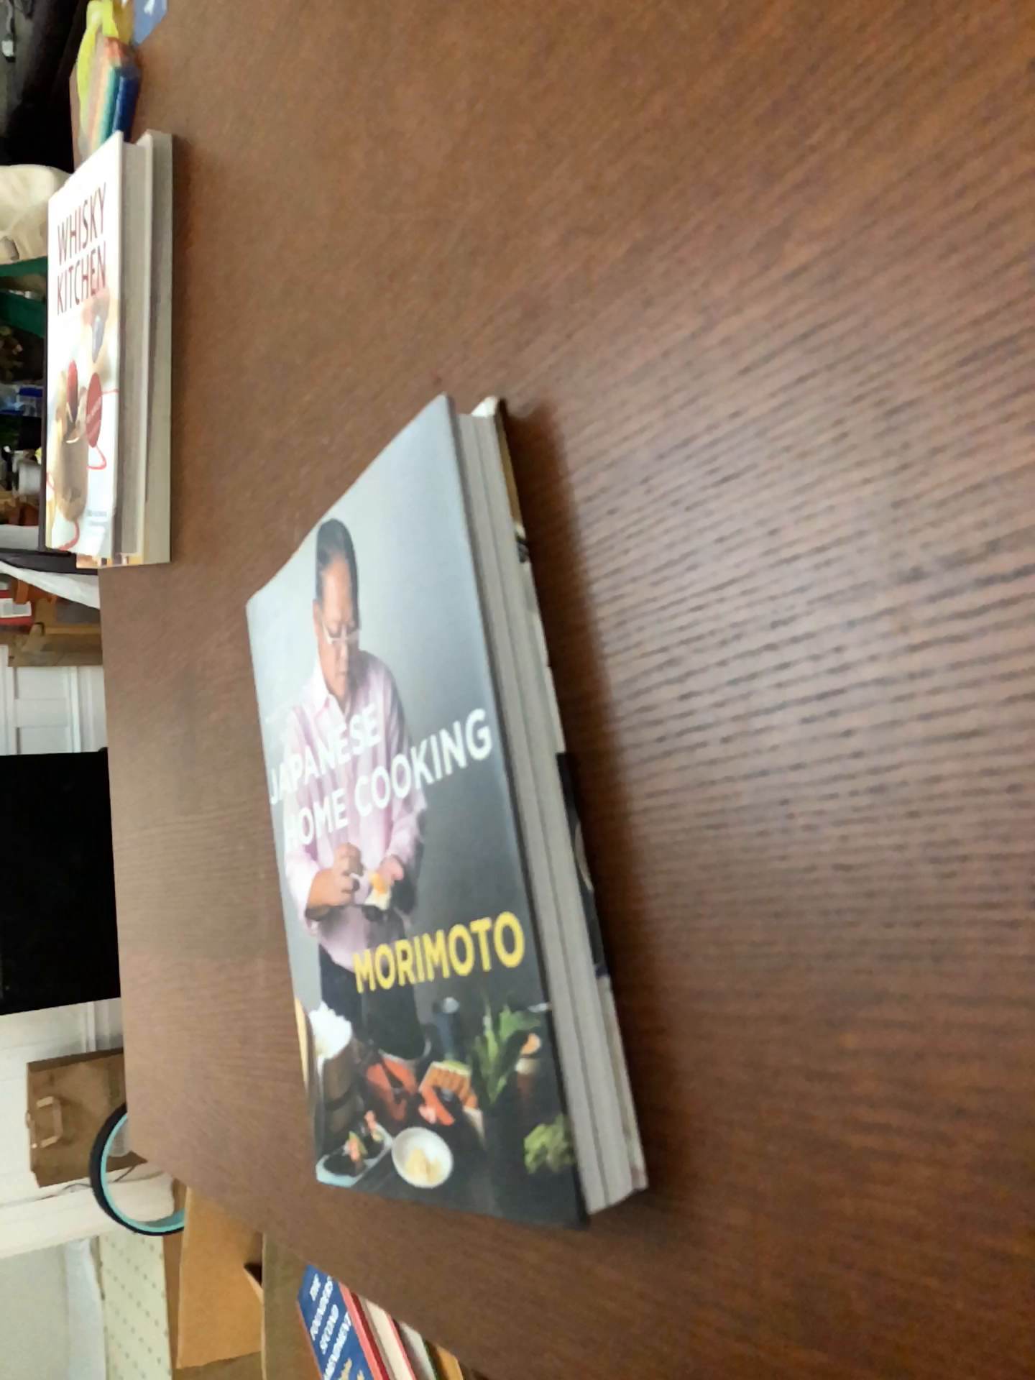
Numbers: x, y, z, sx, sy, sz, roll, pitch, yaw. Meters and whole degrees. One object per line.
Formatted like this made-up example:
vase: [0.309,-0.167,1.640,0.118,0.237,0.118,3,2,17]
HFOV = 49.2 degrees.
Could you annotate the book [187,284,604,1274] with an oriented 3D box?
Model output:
book: [-0.068,0.042,0.433,0.221,0.030,0.300,-30,66,55]
